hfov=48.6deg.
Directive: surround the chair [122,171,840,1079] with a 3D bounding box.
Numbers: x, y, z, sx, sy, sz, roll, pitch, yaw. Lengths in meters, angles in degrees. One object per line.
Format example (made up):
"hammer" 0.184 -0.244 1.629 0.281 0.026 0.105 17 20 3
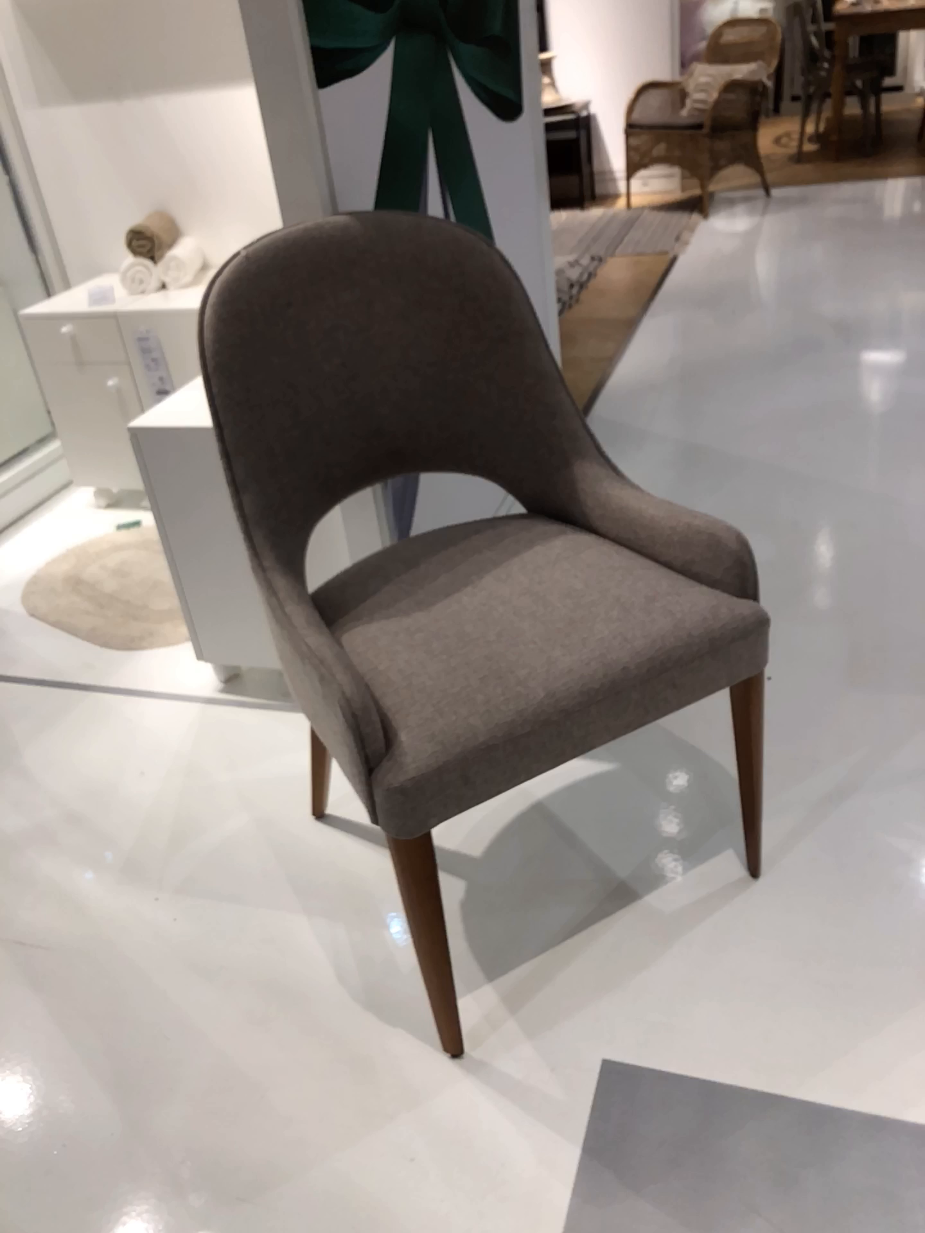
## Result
"chair" 0.028 -0.041 1.361 0.571 0.893 0.614 -22 33 -22
